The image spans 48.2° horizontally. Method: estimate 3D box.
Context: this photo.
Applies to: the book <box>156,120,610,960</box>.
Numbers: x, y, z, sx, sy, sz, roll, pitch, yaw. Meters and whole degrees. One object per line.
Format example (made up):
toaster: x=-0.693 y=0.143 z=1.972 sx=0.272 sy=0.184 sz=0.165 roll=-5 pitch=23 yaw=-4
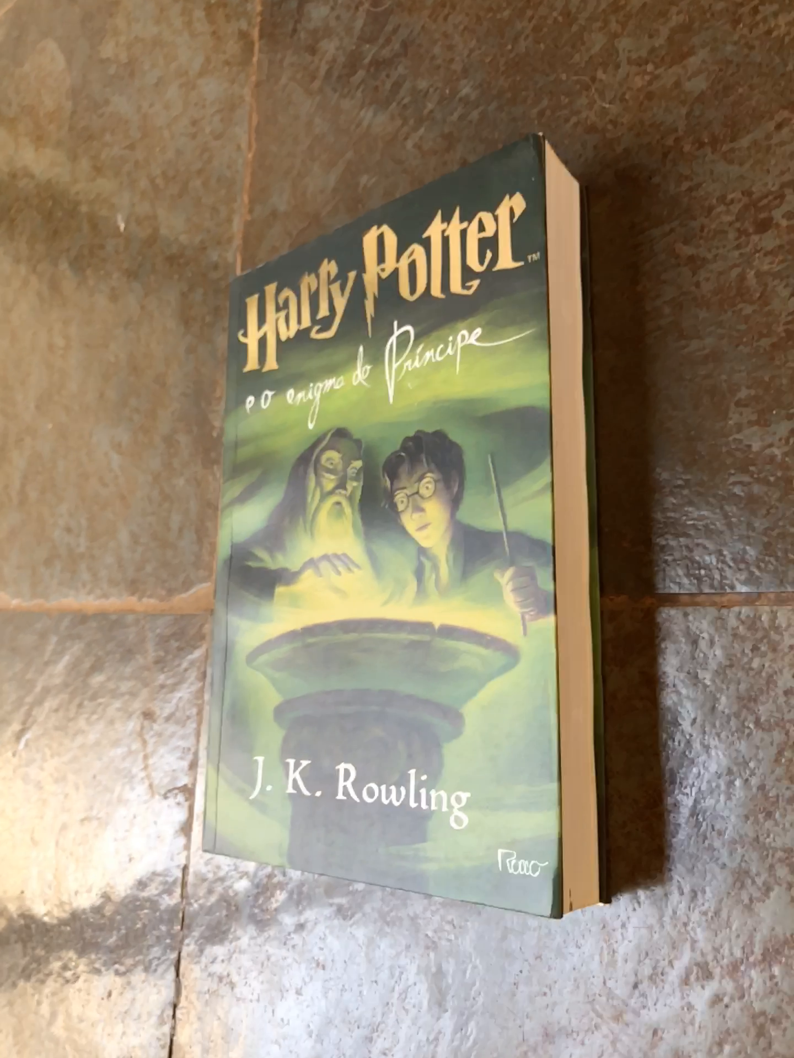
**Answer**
book: x=-0.012 y=0.004 z=0.265 sx=0.143 sy=0.030 sz=0.200 roll=-8 pitch=77 yaw=40
